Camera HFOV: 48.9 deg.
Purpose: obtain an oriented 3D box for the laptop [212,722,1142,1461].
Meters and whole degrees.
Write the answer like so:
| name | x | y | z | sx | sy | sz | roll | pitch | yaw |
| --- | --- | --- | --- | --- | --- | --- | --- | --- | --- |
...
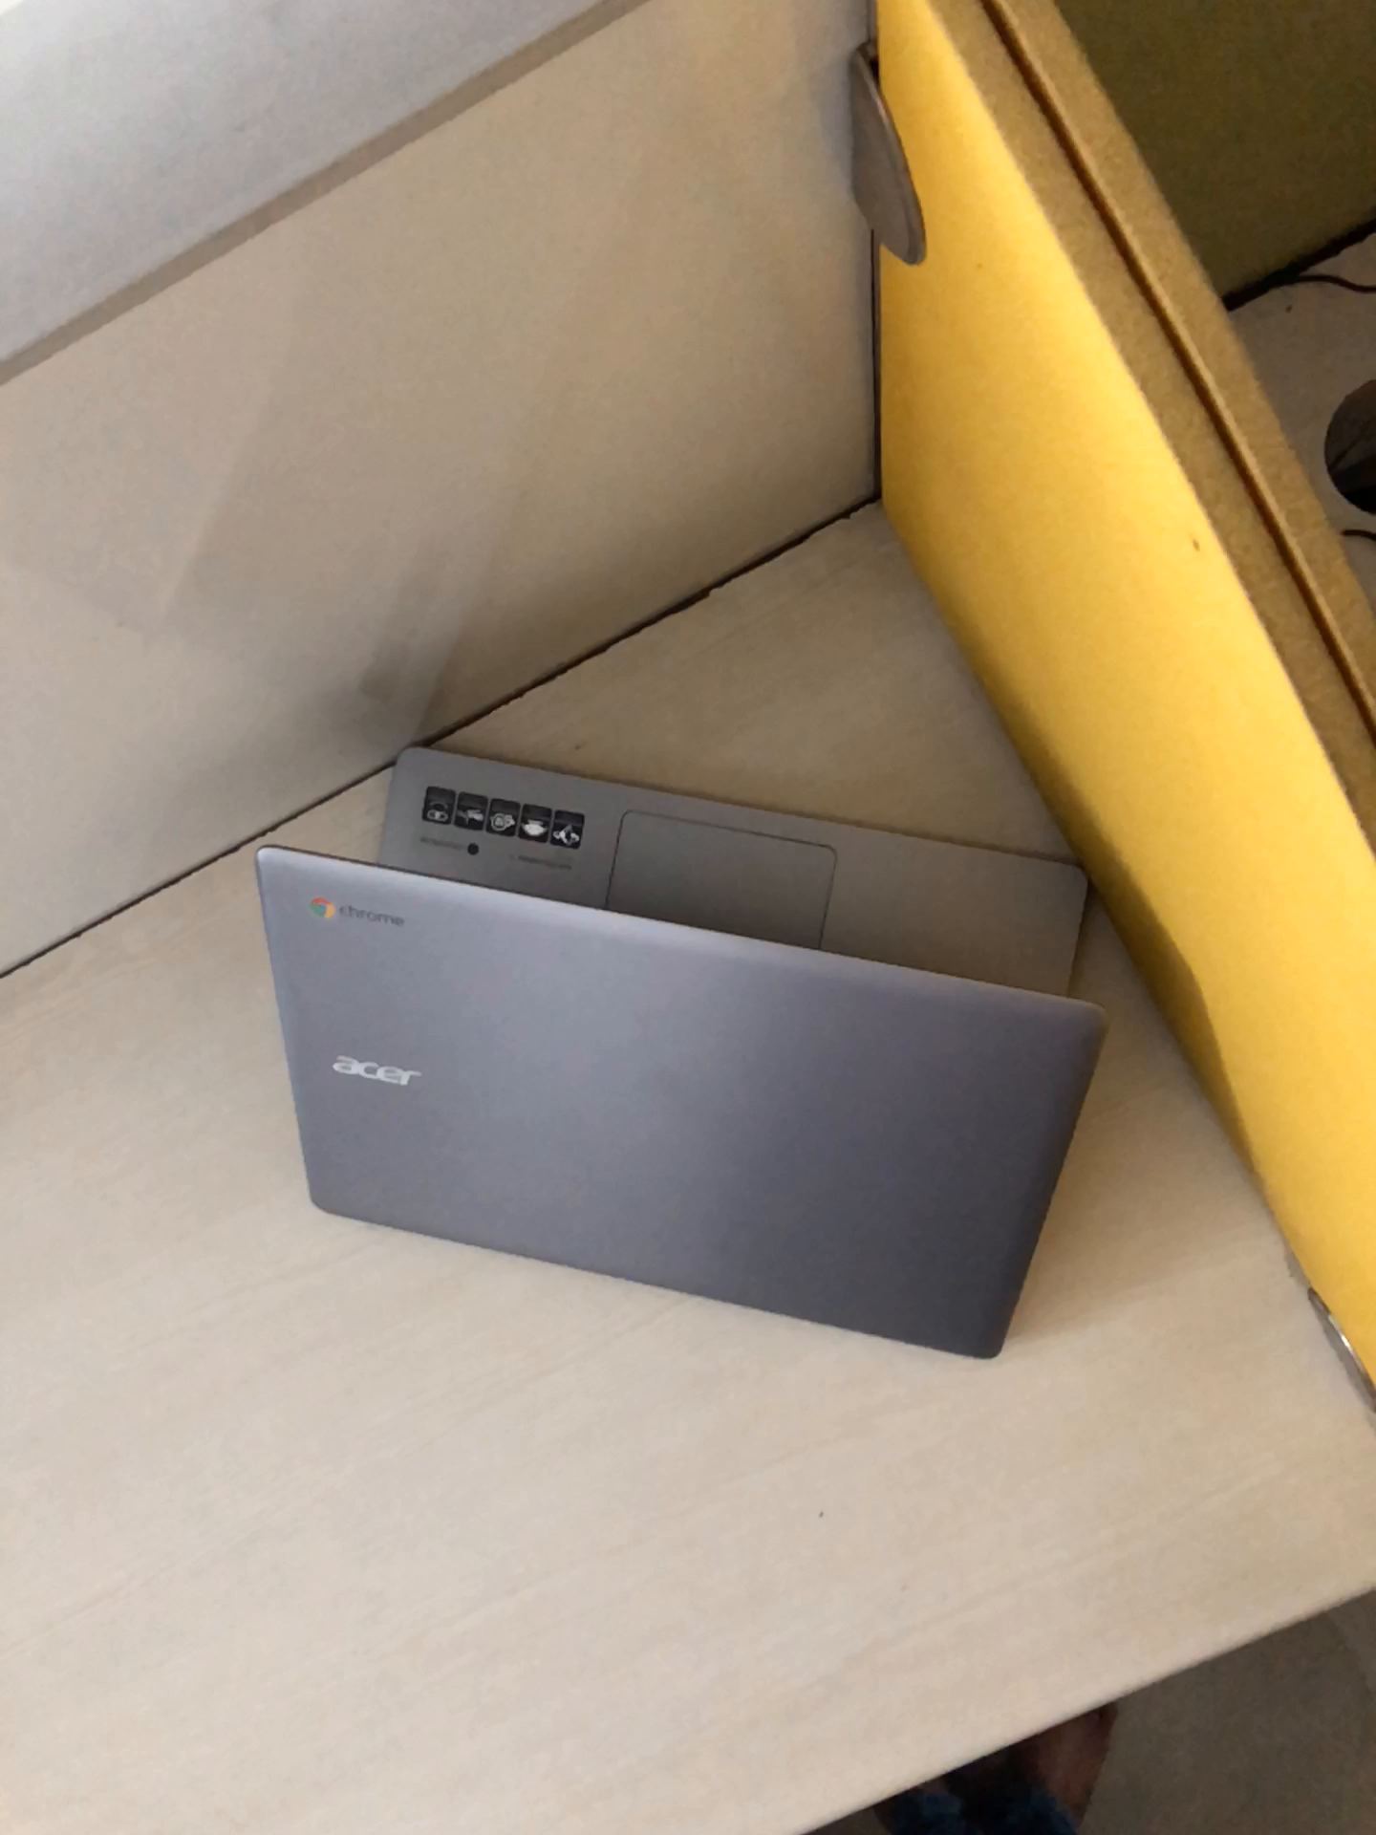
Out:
| name | x | y | z | sx | sy | sz | roll | pitch | yaw |
| --- | --- | --- | --- | --- | --- | --- | --- | --- | --- |
| laptop | -0.003 | 0.062 | 0.634 | 0.314 | 0.135 | 0.221 | 11 | 92 | 7 |
